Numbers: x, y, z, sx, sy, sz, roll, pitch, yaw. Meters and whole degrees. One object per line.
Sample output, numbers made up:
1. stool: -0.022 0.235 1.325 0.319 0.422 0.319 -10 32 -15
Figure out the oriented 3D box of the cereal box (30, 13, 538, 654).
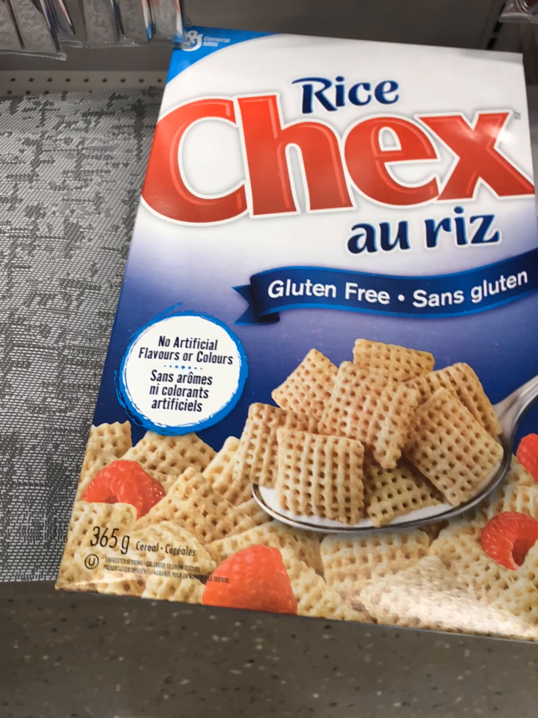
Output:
1. cereal box: 0.032 -0.029 0.307 0.210 0.070 0.300 6 67 0
